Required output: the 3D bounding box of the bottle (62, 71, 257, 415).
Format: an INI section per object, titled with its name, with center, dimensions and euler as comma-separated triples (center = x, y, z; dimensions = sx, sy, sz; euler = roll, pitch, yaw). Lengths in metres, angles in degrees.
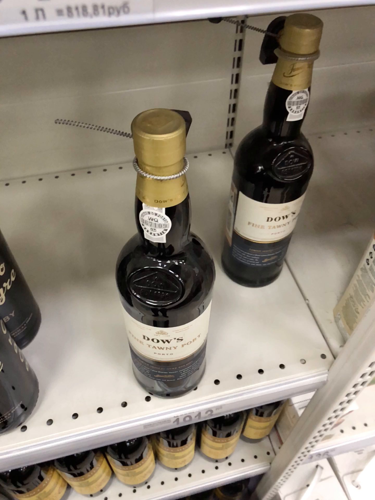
[bottle]
center = -0.021, 0.027, 0.331
dimensions = 0.090, 0.296, 0.090
euler = 0, 49, 0
